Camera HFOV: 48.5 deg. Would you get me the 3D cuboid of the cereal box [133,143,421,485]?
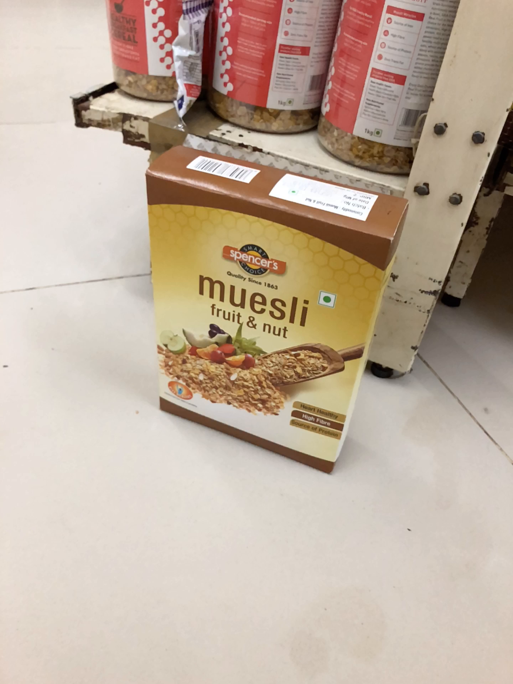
[{"bbox_3d":[0.004,-0.015,0.466,0.190,0.238,0.060,18,40,15],"label":"cereal box"}]
